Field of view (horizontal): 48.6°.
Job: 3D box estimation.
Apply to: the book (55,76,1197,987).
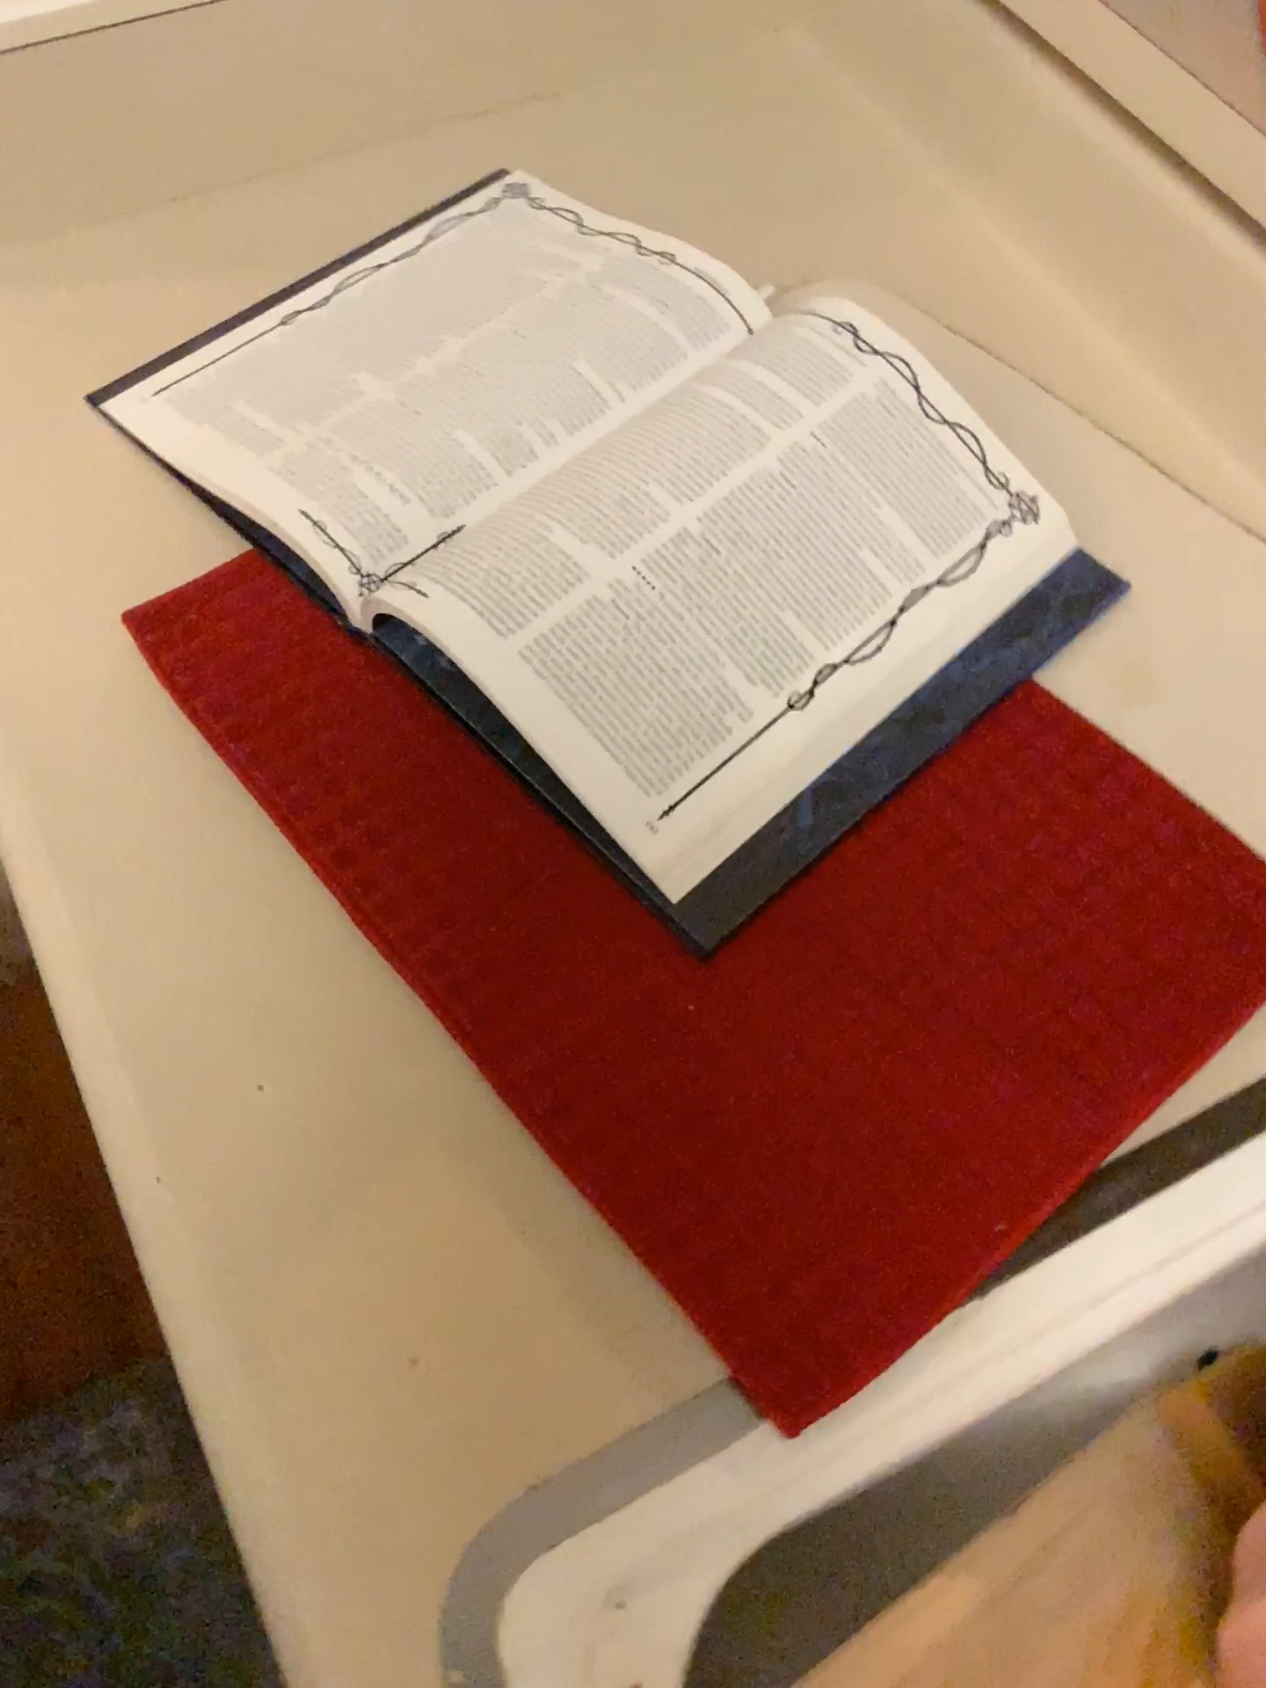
[{"bbox_3d":[-0.012,-0.183,0.670,0.450,0.060,0.290,40,66,20],"label":"book"}]
